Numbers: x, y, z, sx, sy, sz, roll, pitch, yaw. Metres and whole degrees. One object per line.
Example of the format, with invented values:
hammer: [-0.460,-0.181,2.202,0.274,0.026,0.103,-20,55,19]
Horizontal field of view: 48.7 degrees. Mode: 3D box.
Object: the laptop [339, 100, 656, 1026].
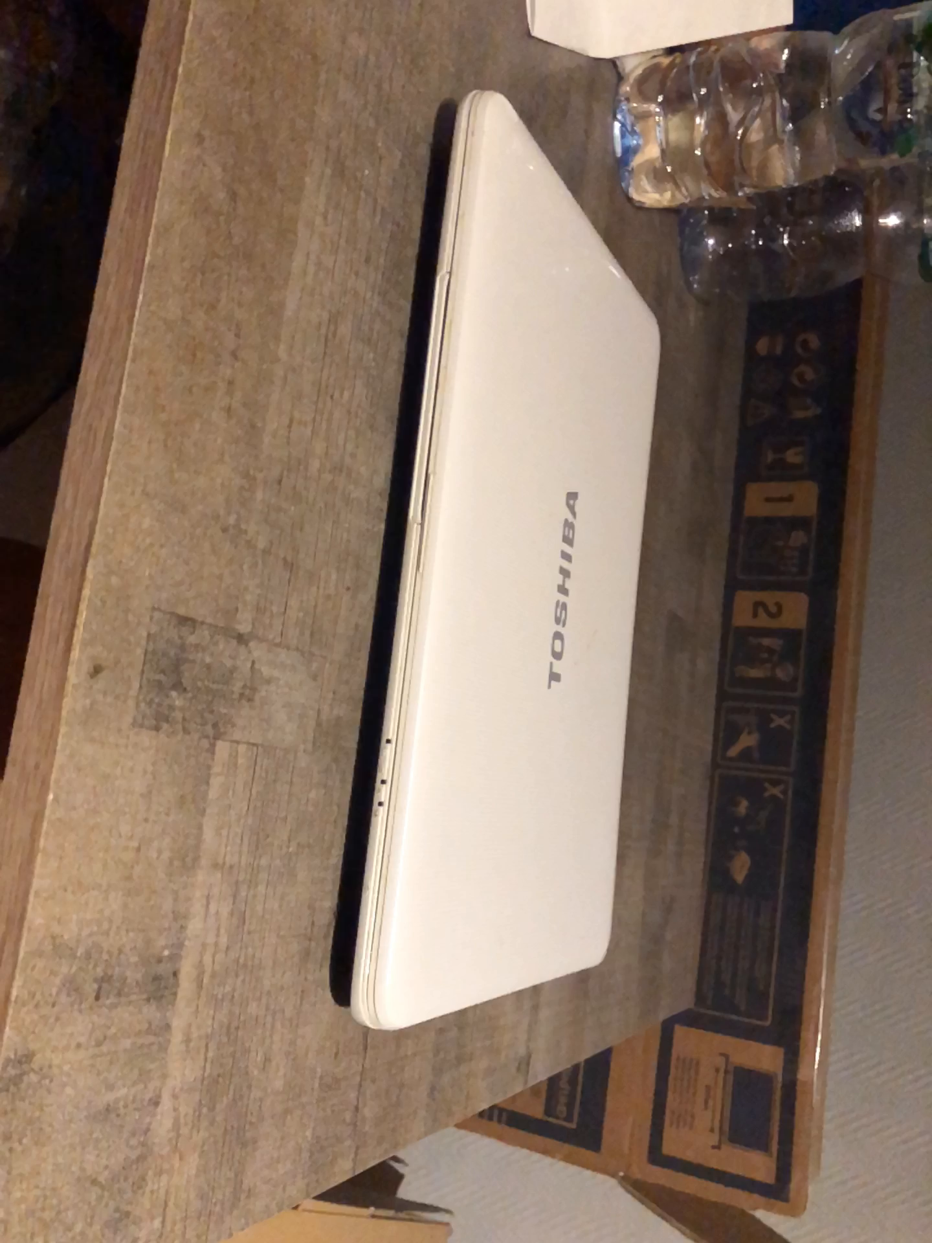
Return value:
laptop: [0.035,-0.017,0.509,0.229,0.020,0.375,22,72,-60]
